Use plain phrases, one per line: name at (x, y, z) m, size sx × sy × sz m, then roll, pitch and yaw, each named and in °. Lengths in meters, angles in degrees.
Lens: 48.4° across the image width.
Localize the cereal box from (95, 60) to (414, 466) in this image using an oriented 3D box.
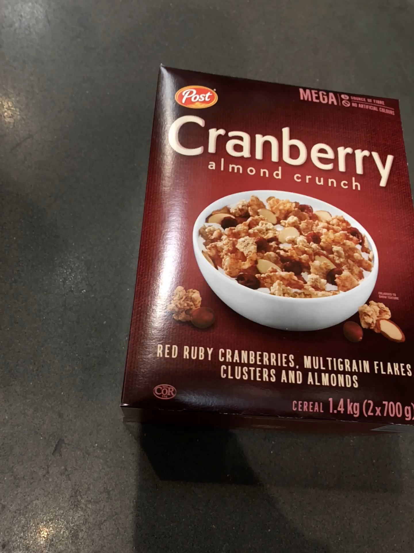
cereal box at (0.061, -0.006, 0.421) m, size 0.260 × 0.130 × 0.310 m, roll 8°, pitch 68°, yaw -6°
